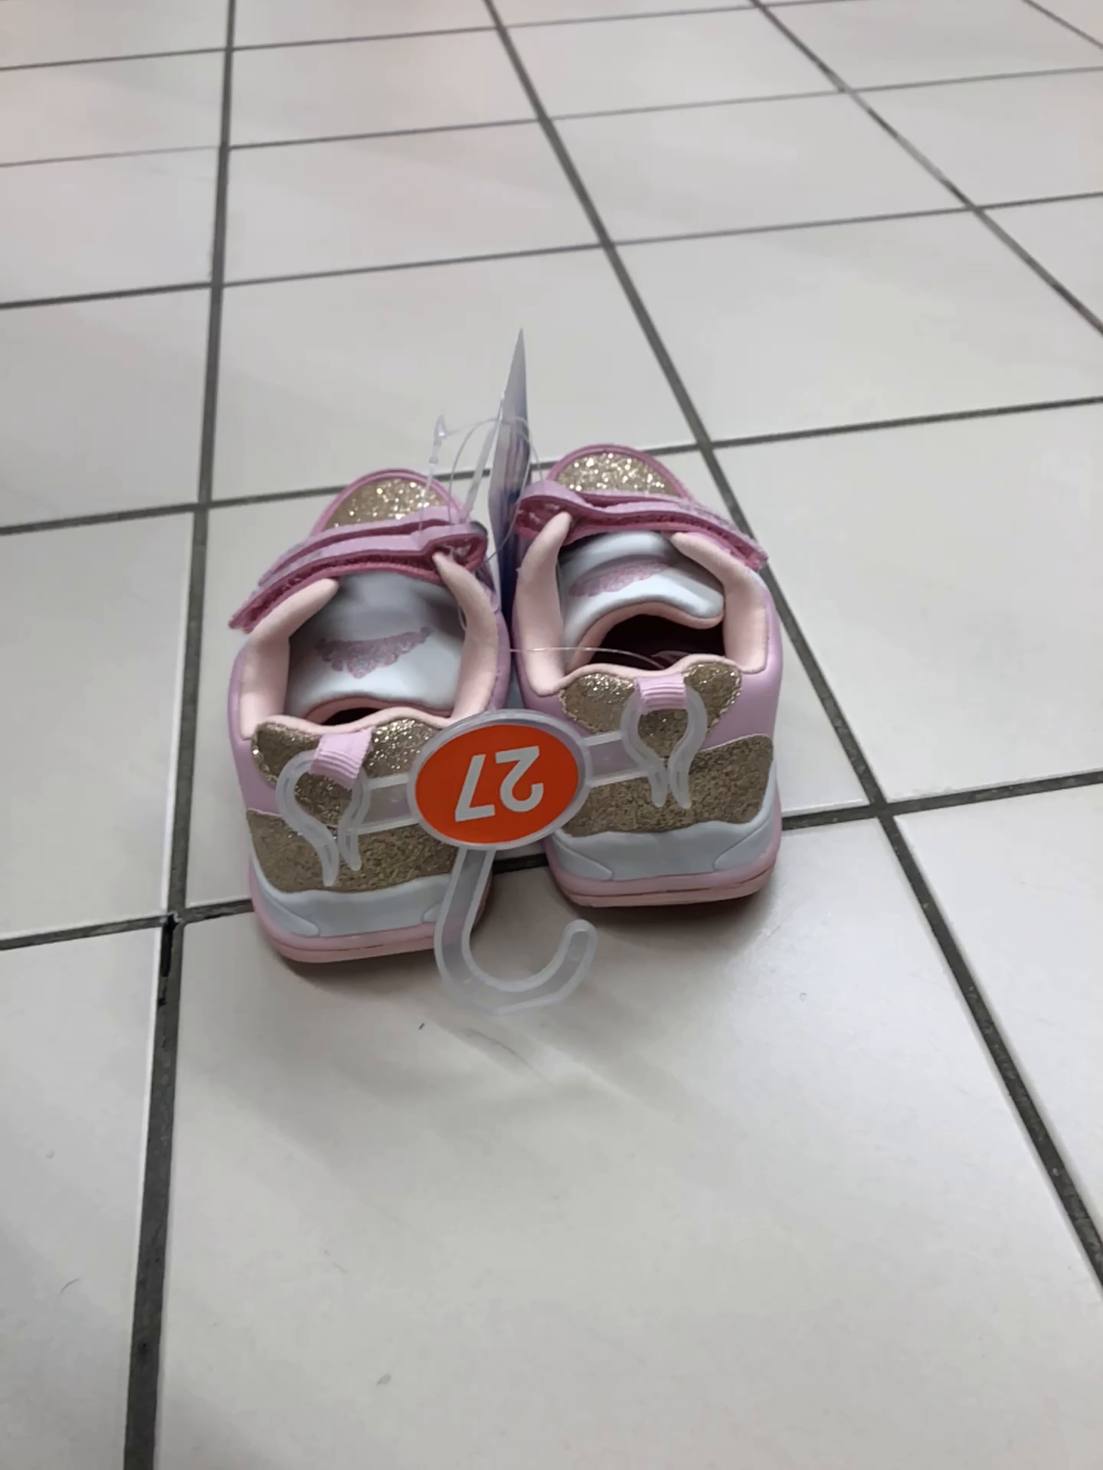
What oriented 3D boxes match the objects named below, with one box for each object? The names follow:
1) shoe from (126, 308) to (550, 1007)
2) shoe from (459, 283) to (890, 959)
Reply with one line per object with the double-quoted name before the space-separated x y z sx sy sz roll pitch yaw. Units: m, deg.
"shoe" -0.053 -0.034 0.349 0.083 0.087 0.196 -5 44 -3
"shoe" 0.022 -0.045 0.356 0.083 0.087 0.196 -5 44 -3
